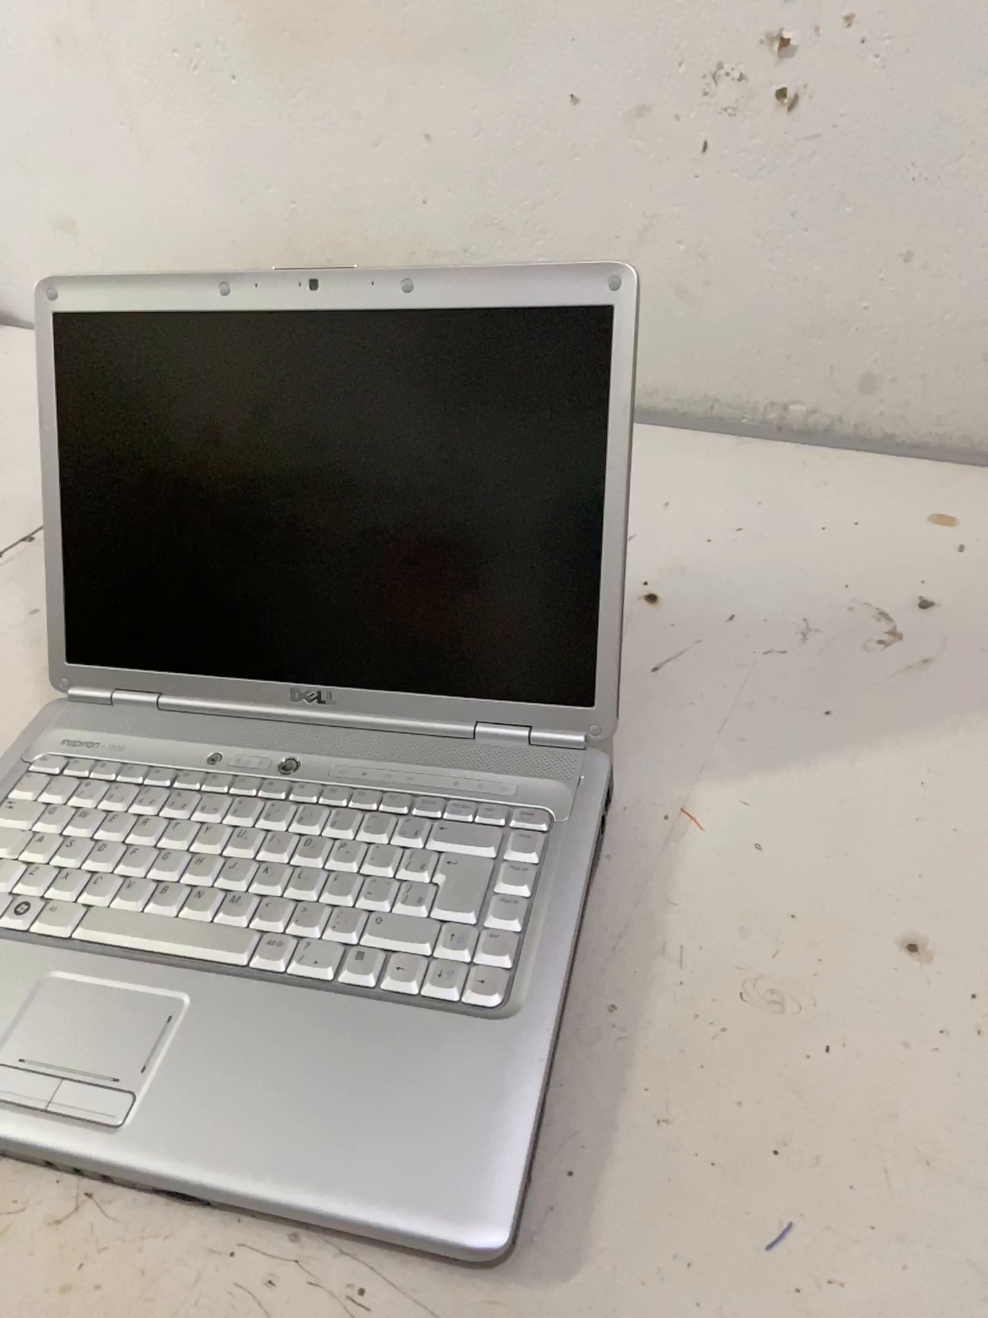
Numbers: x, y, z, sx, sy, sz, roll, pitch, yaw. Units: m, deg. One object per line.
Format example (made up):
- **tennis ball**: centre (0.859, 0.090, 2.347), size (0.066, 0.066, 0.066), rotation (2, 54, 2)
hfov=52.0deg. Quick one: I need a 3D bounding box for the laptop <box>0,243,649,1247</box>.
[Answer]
- **laptop**: centre (-0.127, -0.011, 0.476), size (0.349, 0.208, 0.379), rotation (4, 42, 15)
